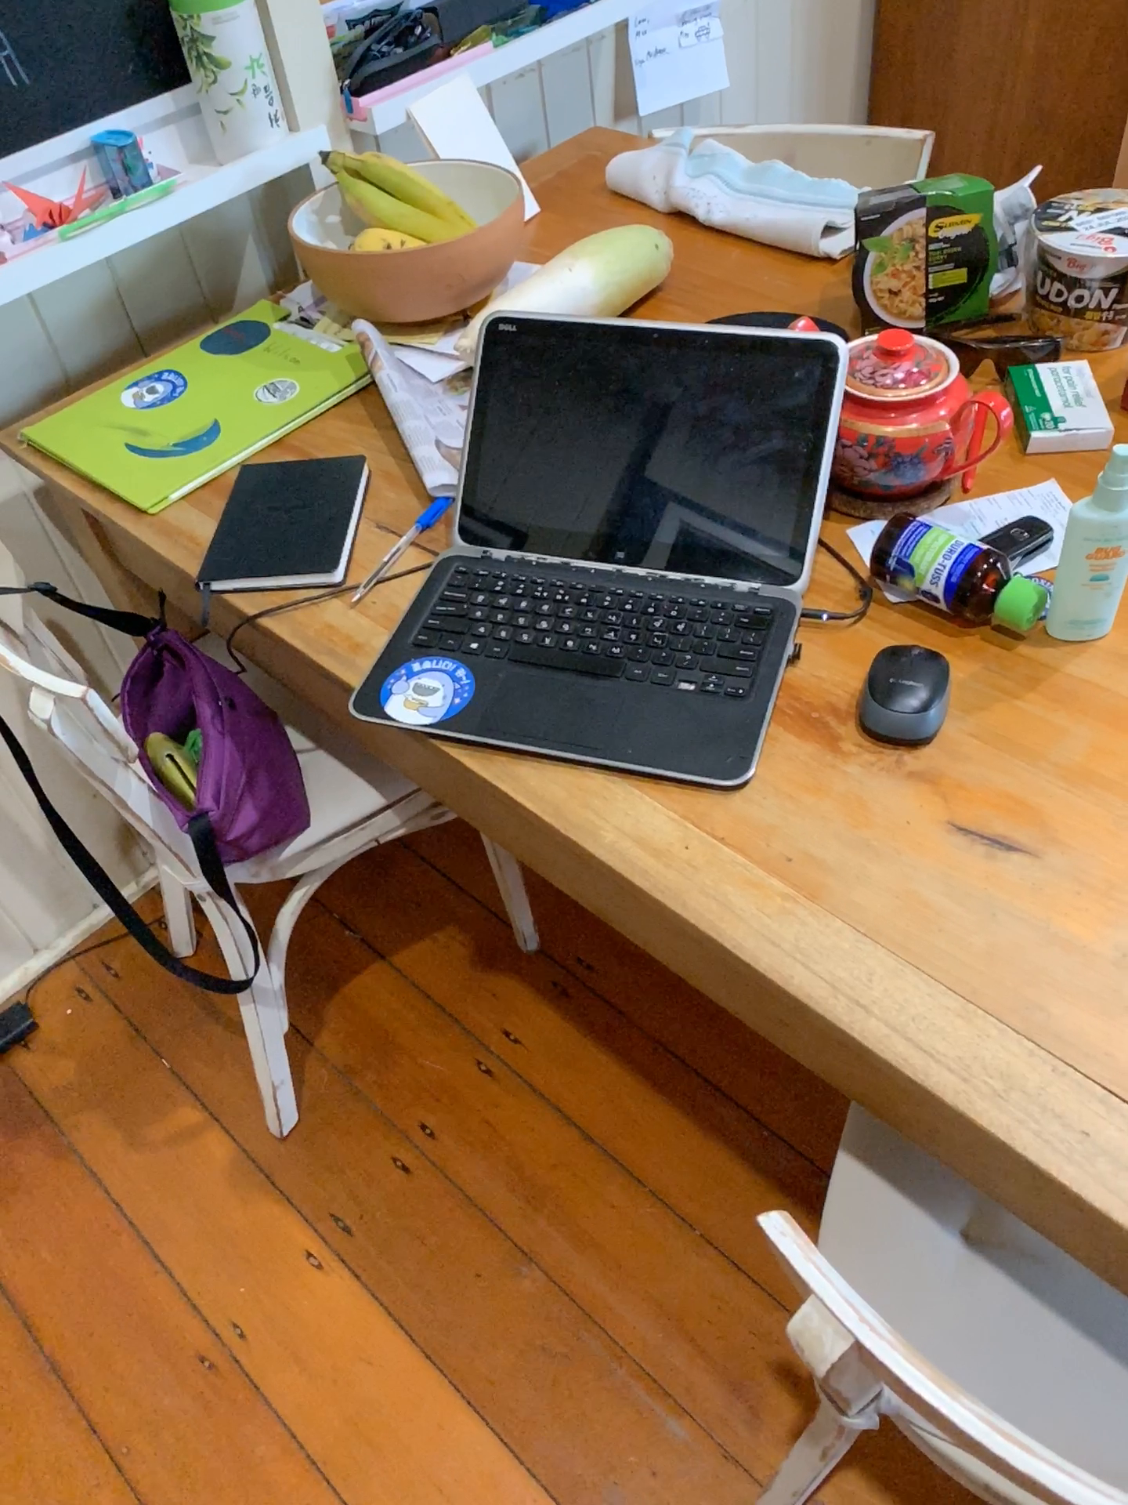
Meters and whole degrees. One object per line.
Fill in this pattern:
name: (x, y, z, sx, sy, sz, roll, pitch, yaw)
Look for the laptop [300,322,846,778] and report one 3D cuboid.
laptop: (0.029, -0.175, 0.887, 0.303, 0.139, 0.340, 10, 50, 17)
